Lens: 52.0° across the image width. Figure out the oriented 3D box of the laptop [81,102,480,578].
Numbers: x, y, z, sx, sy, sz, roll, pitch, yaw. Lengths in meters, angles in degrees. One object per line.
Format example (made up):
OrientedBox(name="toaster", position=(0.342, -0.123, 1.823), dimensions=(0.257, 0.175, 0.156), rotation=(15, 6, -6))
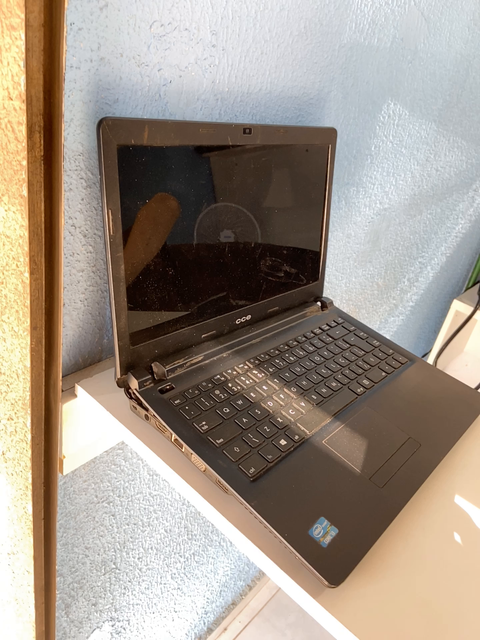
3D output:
OrientedBox(name="laptop", position=(0.084, -0.040, 0.479), dimensions=(0.312, 0.211, 0.335), rotation=(35, 35, 30))
